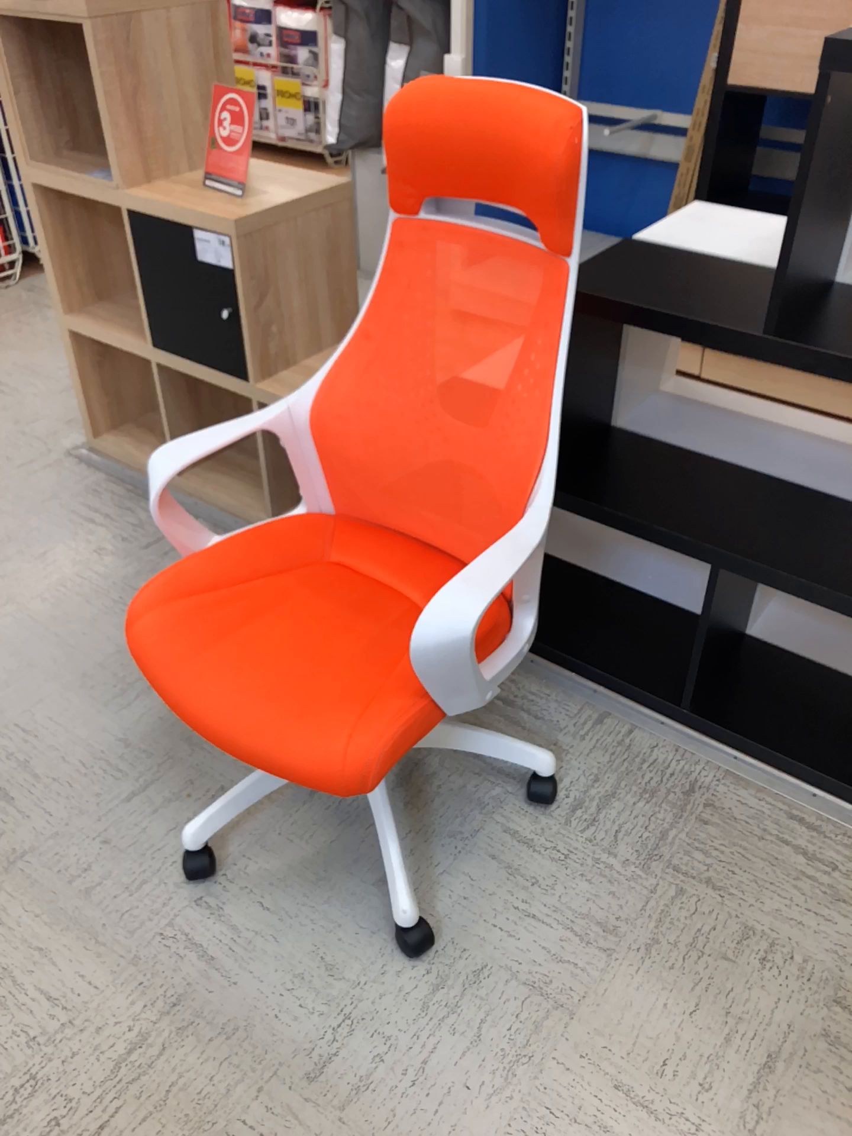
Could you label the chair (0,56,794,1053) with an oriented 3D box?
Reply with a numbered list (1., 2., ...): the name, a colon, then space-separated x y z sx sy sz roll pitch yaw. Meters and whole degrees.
1. chair: -0.064 -0.075 1.362 0.680 1.053 0.754 26 43 32
